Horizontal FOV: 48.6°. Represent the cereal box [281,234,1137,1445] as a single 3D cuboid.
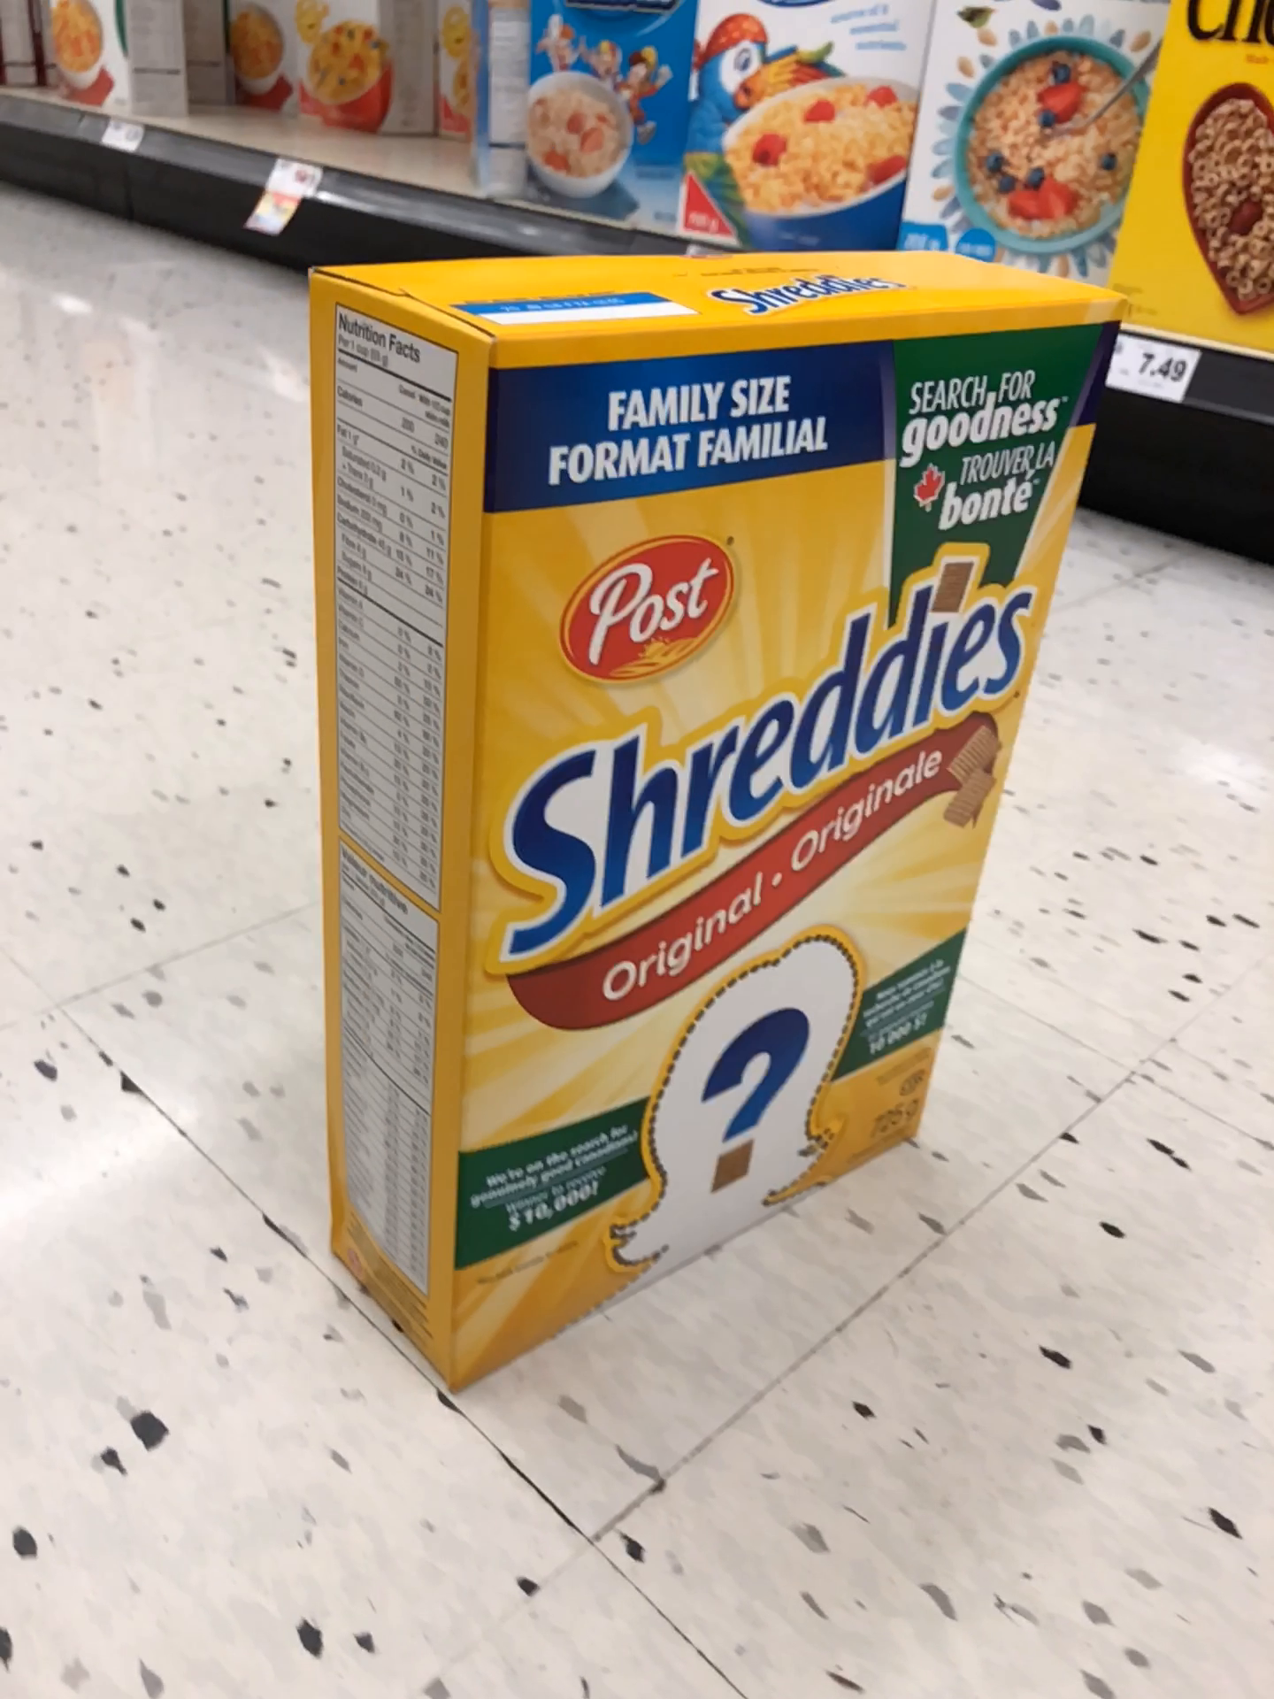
[{"bbox_3d":[0.010,-0.003,0.415,0.211,0.318,0.070,-19,41,-36],"label":"cereal box"}]
